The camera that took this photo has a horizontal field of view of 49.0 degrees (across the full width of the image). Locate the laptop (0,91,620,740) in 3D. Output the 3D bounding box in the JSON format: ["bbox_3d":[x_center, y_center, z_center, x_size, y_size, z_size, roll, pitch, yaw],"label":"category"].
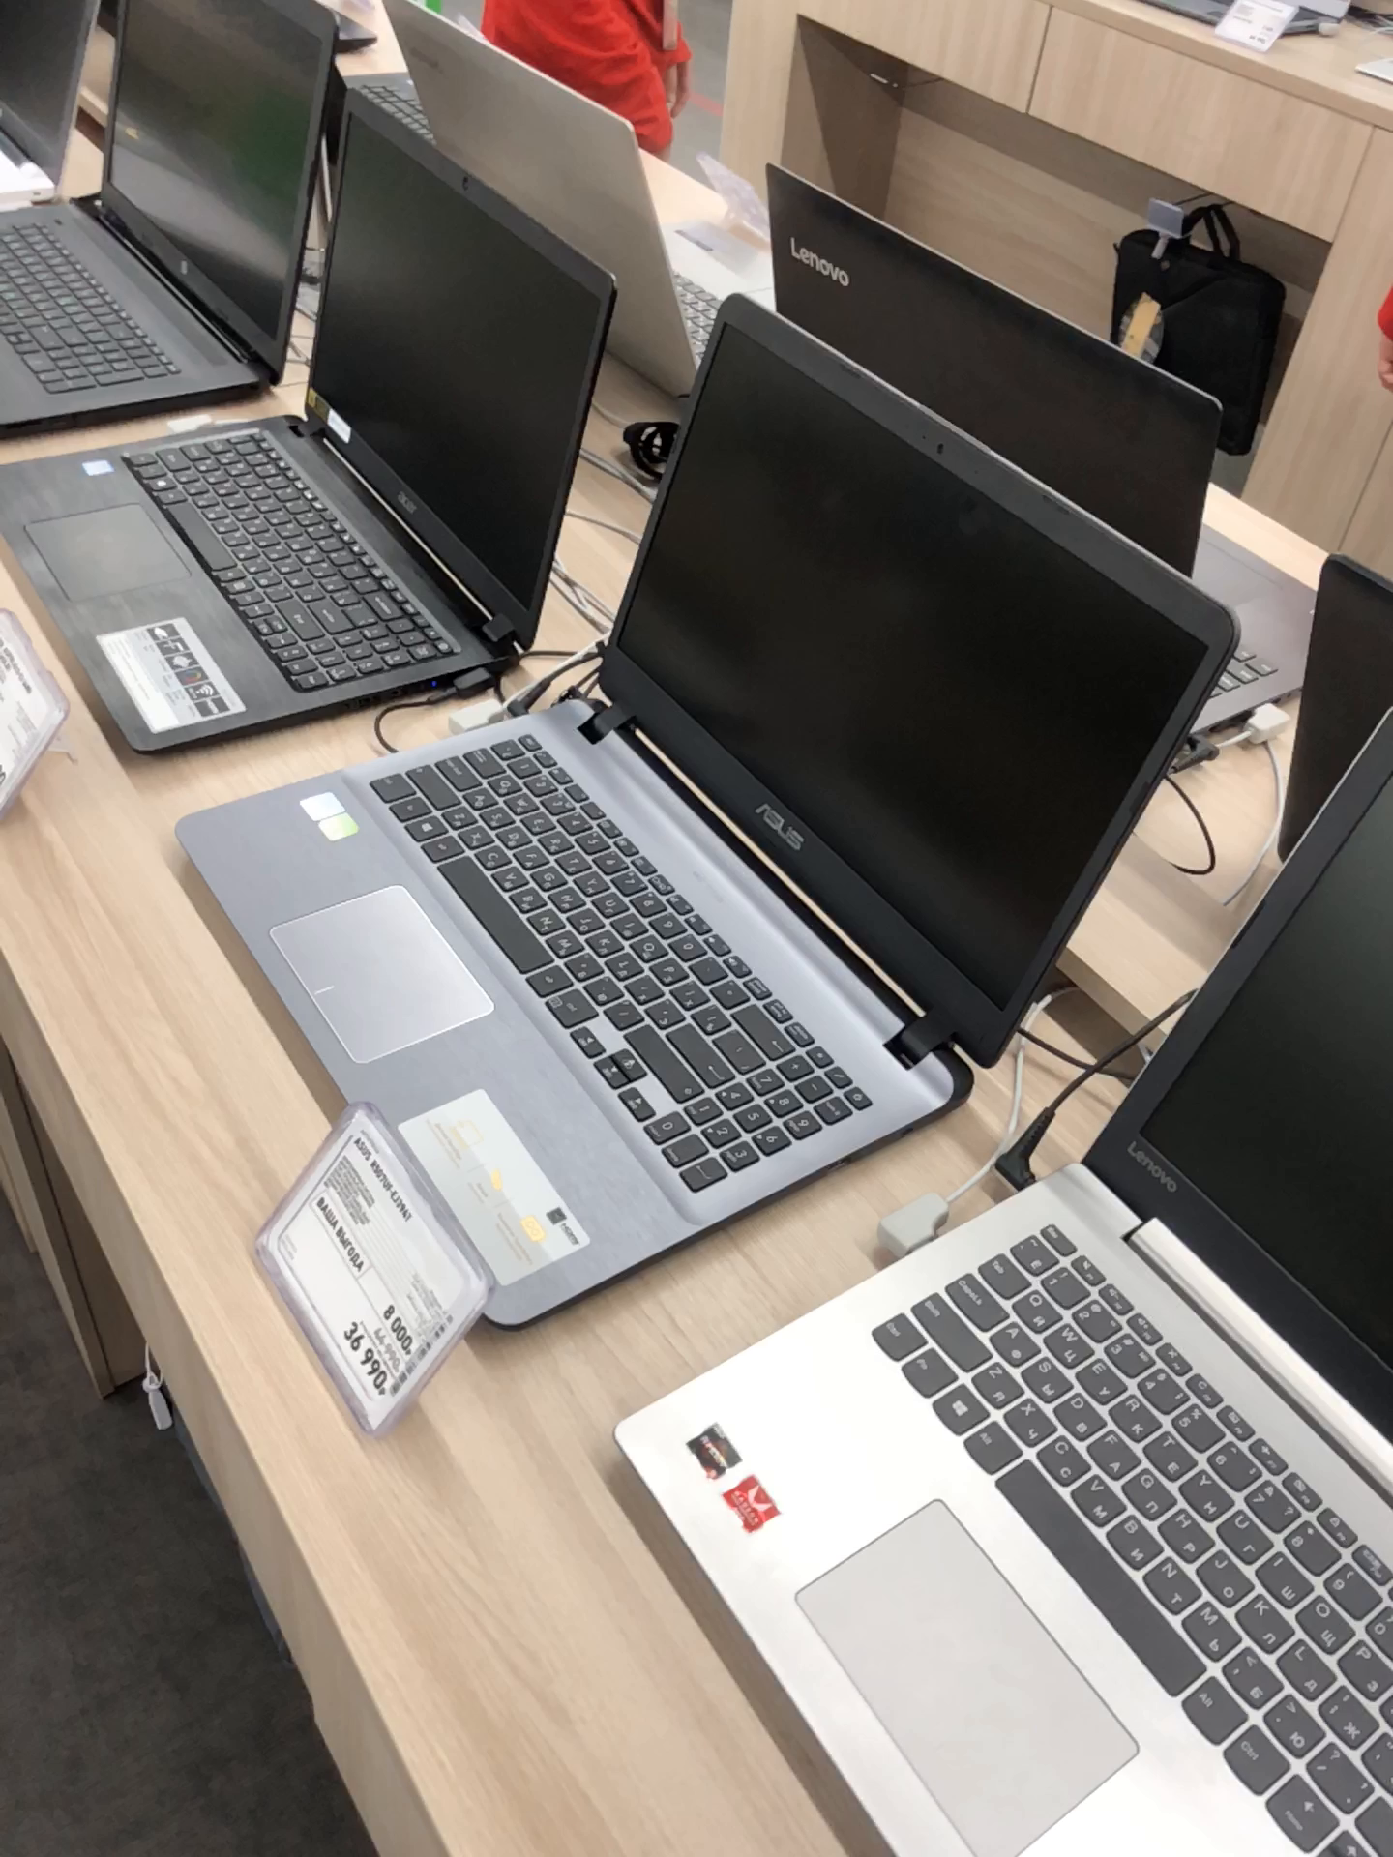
[{"bbox_3d":[-0.268,-0.331,0.933,0.292,0.222,0.333,-20,50,-27],"label":"laptop"}]

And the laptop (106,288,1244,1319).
[{"bbox_3d":[-0.028,-0.090,0.697,0.329,0.226,0.346,-22,50,-27],"label":"laptop"}]

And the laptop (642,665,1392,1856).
[{"bbox_3d":[0.219,0.164,0.462,0.333,0.220,0.371,-24,52,-28],"label":"laptop"}]
